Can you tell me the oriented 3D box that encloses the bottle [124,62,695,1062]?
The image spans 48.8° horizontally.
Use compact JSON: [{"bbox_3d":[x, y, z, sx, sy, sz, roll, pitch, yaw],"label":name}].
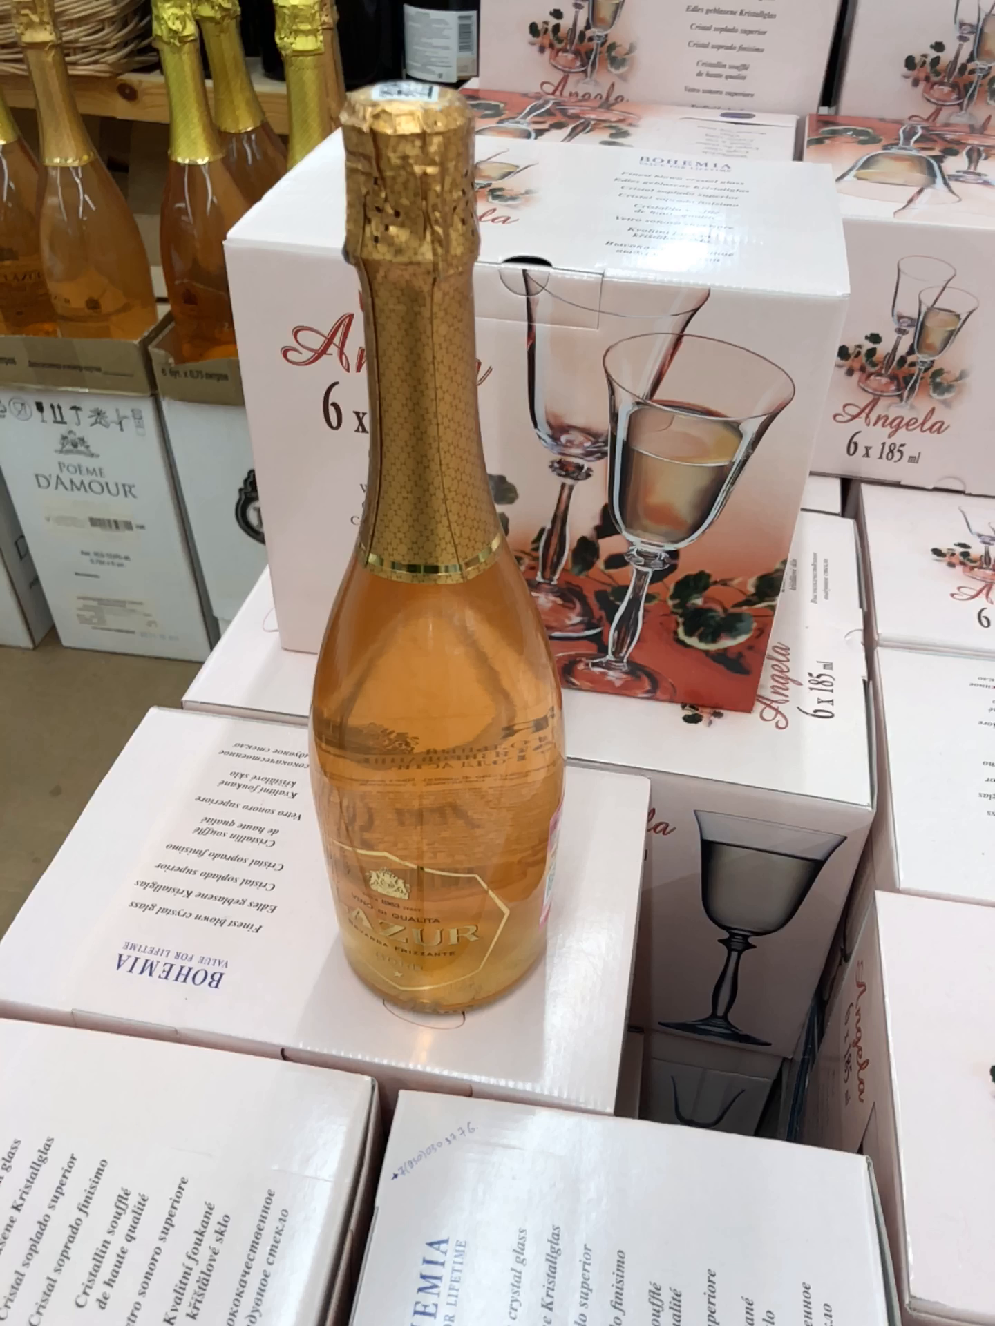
[{"bbox_3d":[-0.017,-0.009,0.348,0.100,0.298,0.090,17,43,18],"label":"bottle"}]
